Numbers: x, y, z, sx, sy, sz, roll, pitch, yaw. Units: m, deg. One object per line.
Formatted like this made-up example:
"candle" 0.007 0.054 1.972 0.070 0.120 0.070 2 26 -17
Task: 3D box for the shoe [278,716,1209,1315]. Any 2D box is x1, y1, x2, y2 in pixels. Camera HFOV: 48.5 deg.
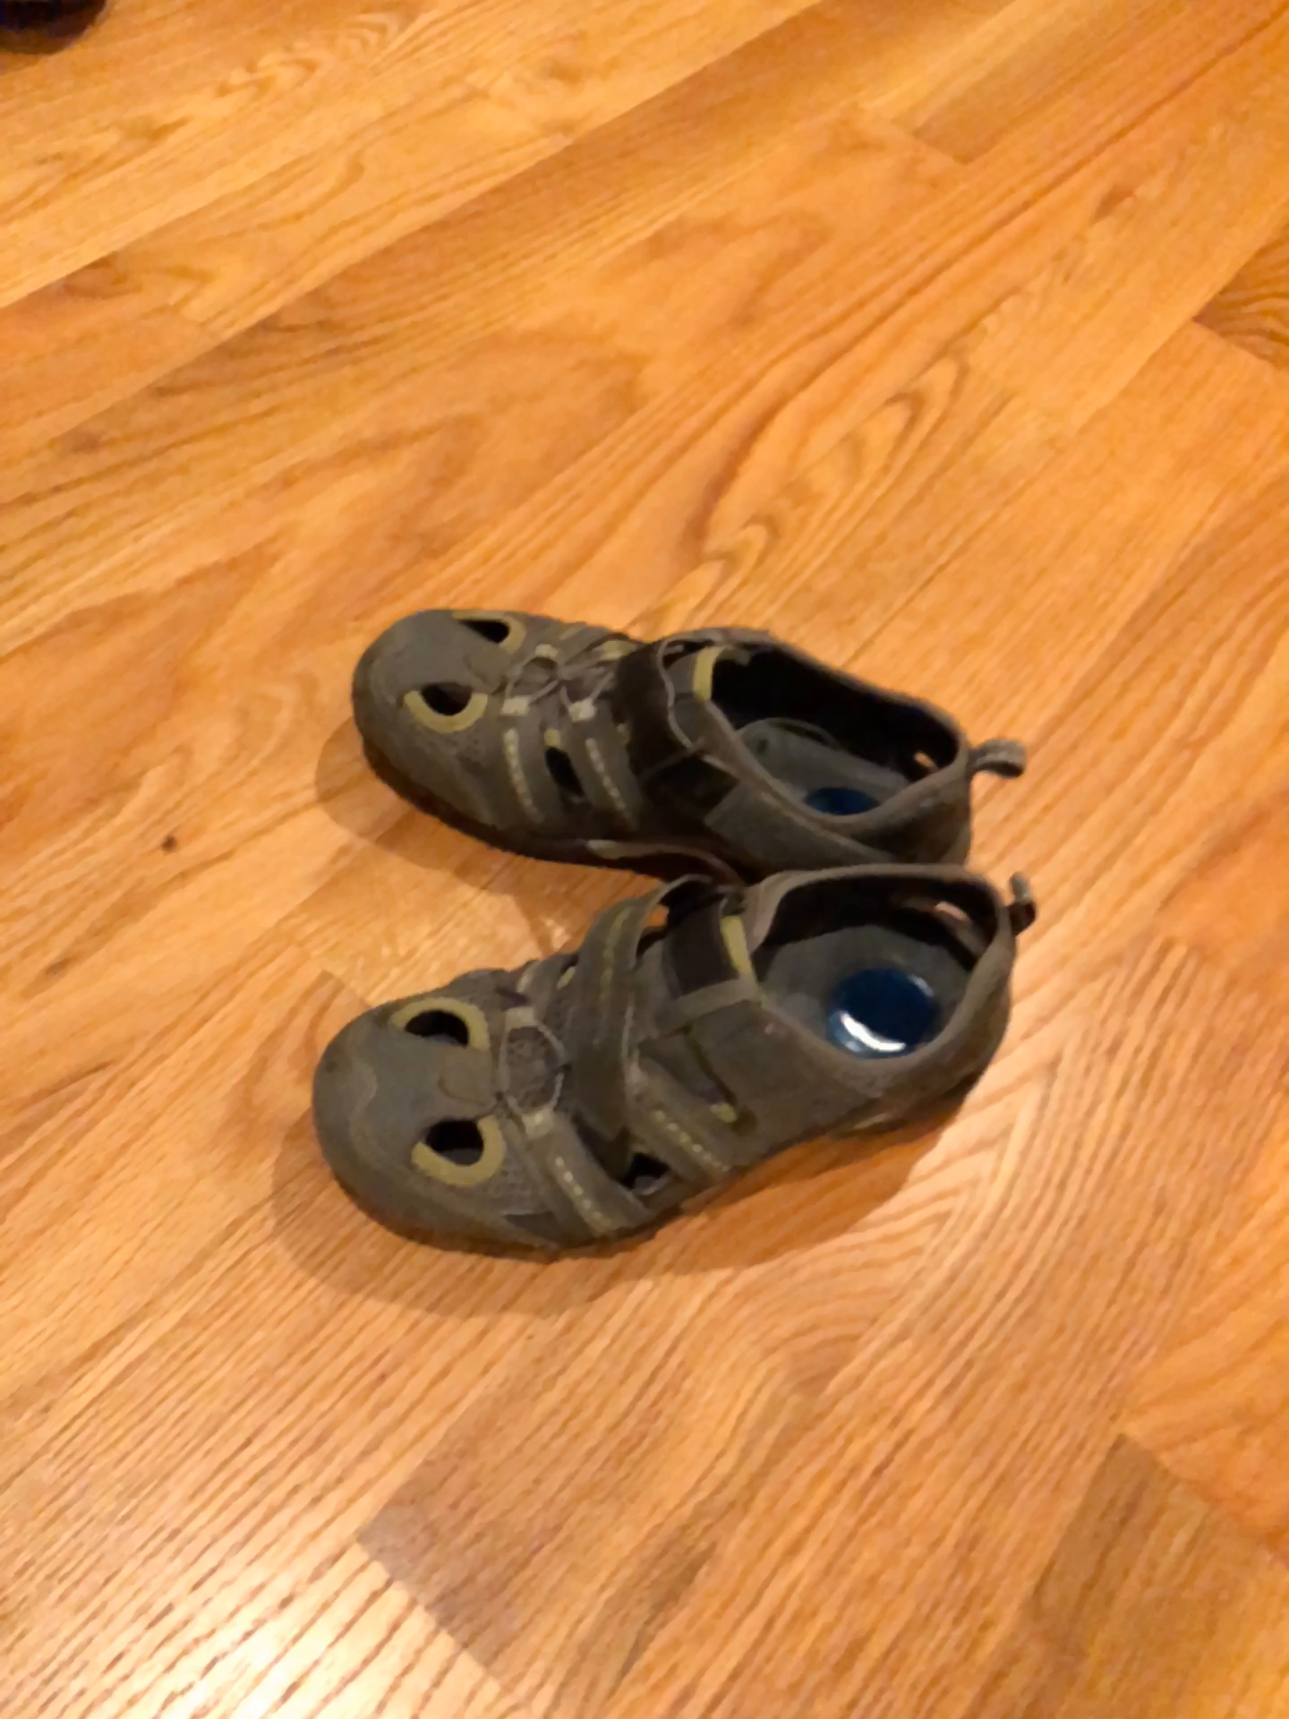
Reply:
"shoe" 0.023 0.047 0.446 0.245 0.113 0.100 -10 60 -15

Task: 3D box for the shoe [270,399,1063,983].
"shoe" 0.007 -0.057 0.514 0.245 0.113 0.101 15 56 1
